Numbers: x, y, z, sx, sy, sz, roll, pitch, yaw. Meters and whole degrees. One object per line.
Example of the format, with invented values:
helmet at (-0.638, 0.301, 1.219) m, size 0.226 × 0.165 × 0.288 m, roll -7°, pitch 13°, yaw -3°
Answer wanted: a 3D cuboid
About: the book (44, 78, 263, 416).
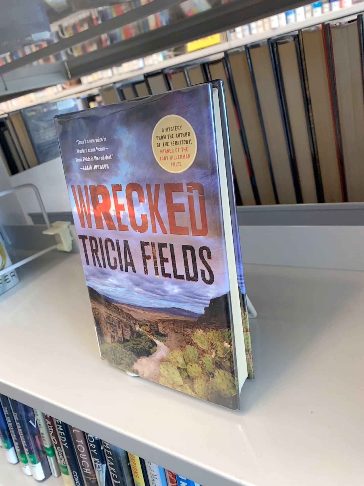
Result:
book at (-0.022, 0.005, 0.286) m, size 0.147 × 0.213 × 0.035 m, roll 3°, pitch 18°, yaw 37°
